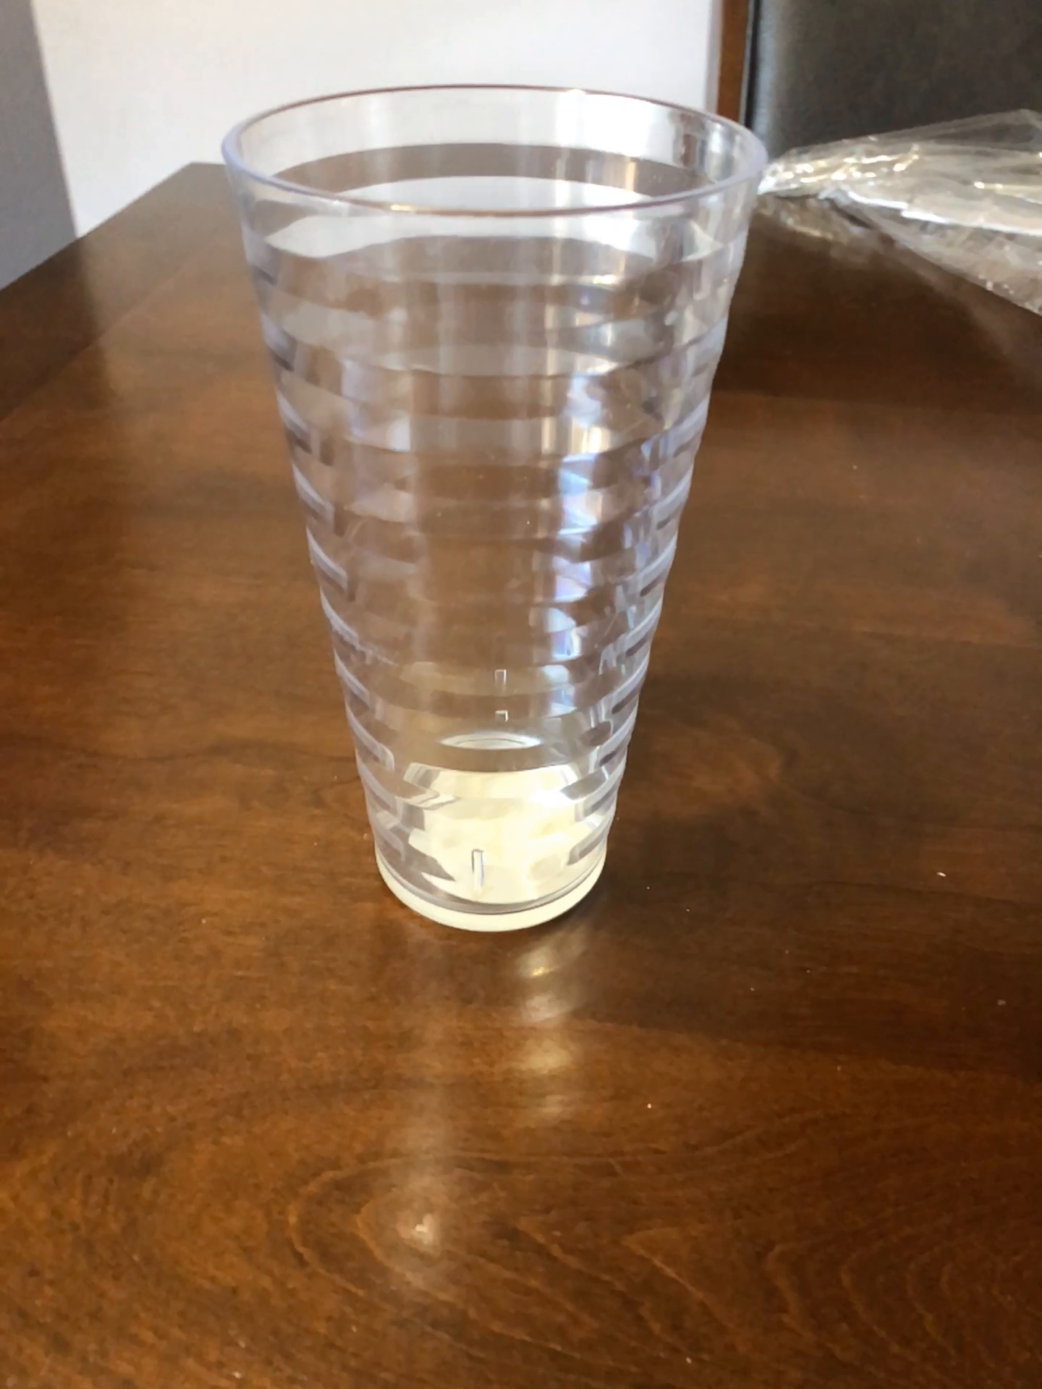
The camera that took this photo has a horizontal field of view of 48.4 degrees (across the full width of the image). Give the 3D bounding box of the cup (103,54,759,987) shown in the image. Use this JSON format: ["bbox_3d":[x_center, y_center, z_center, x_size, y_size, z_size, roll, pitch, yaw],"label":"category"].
[{"bbox_3d":[-0.010,-0.036,0.268,0.100,0.179,0.100,1,37,-1],"label":"cup"}]
